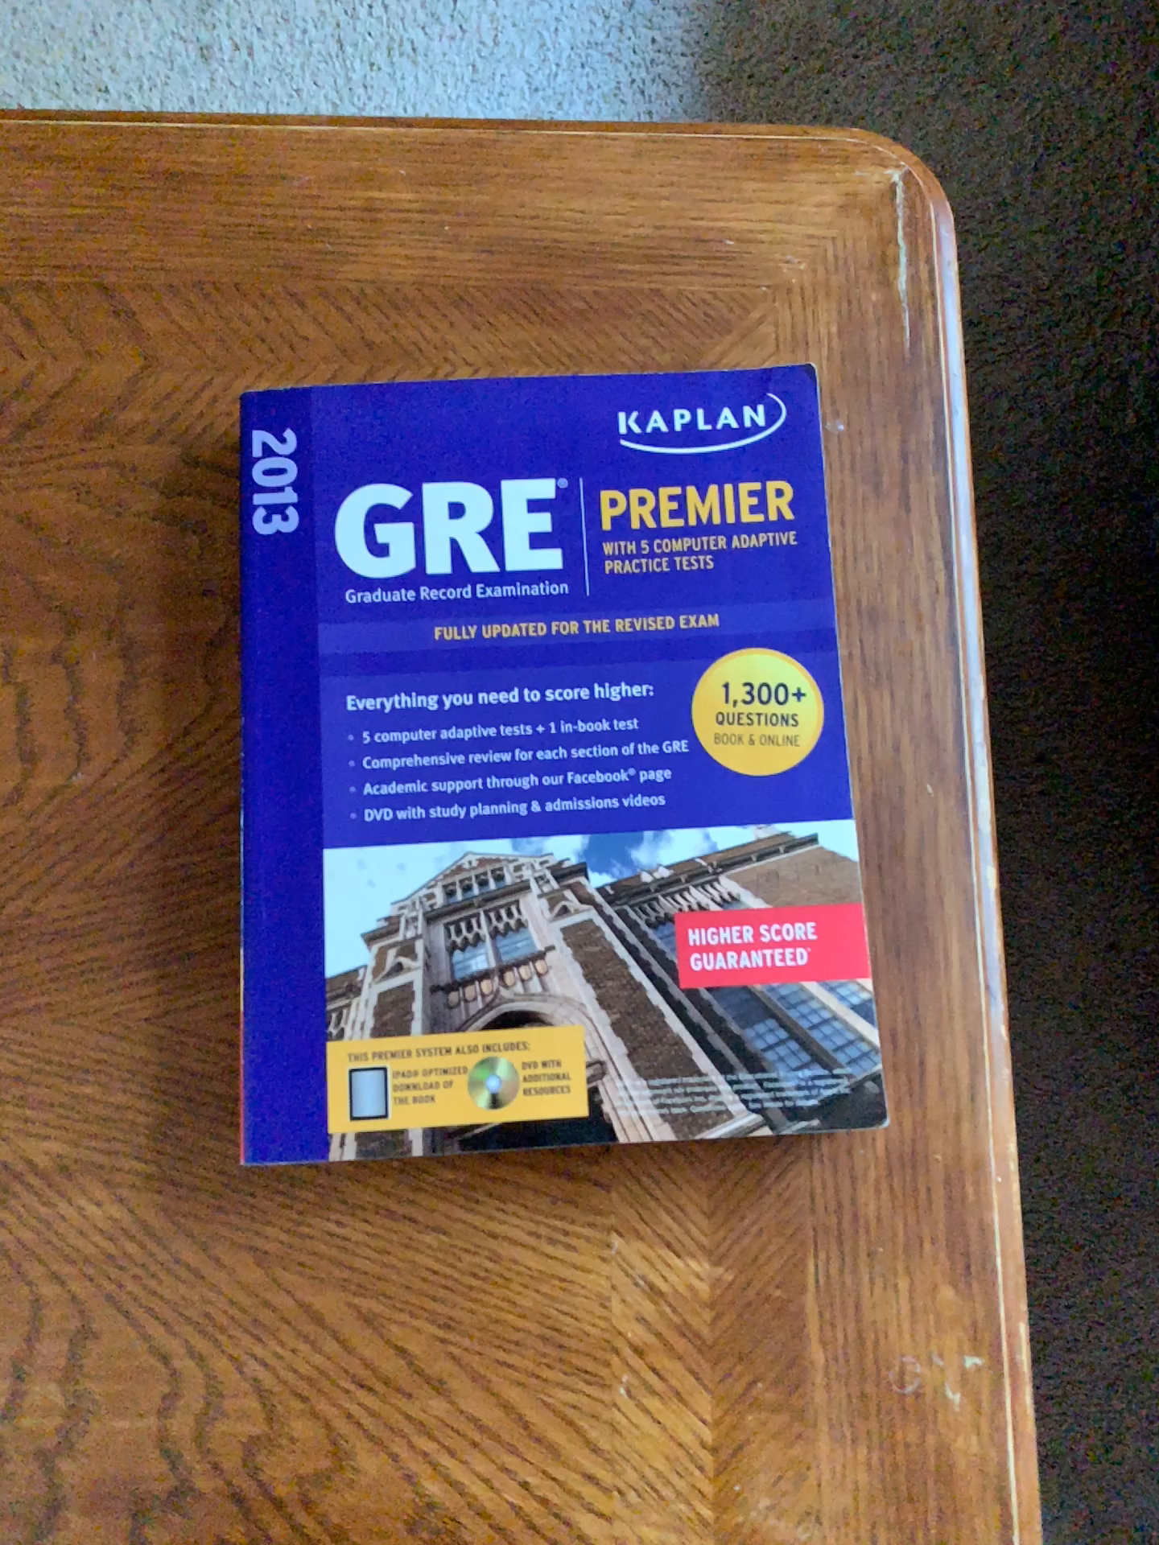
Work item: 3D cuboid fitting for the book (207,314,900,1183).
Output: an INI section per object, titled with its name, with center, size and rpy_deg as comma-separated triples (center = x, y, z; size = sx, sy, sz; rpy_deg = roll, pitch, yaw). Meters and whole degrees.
[book]
center = -0.015, -0.013, 0.430
size = 0.220, 0.060, 0.290
rpy_deg = -3, 80, -2
